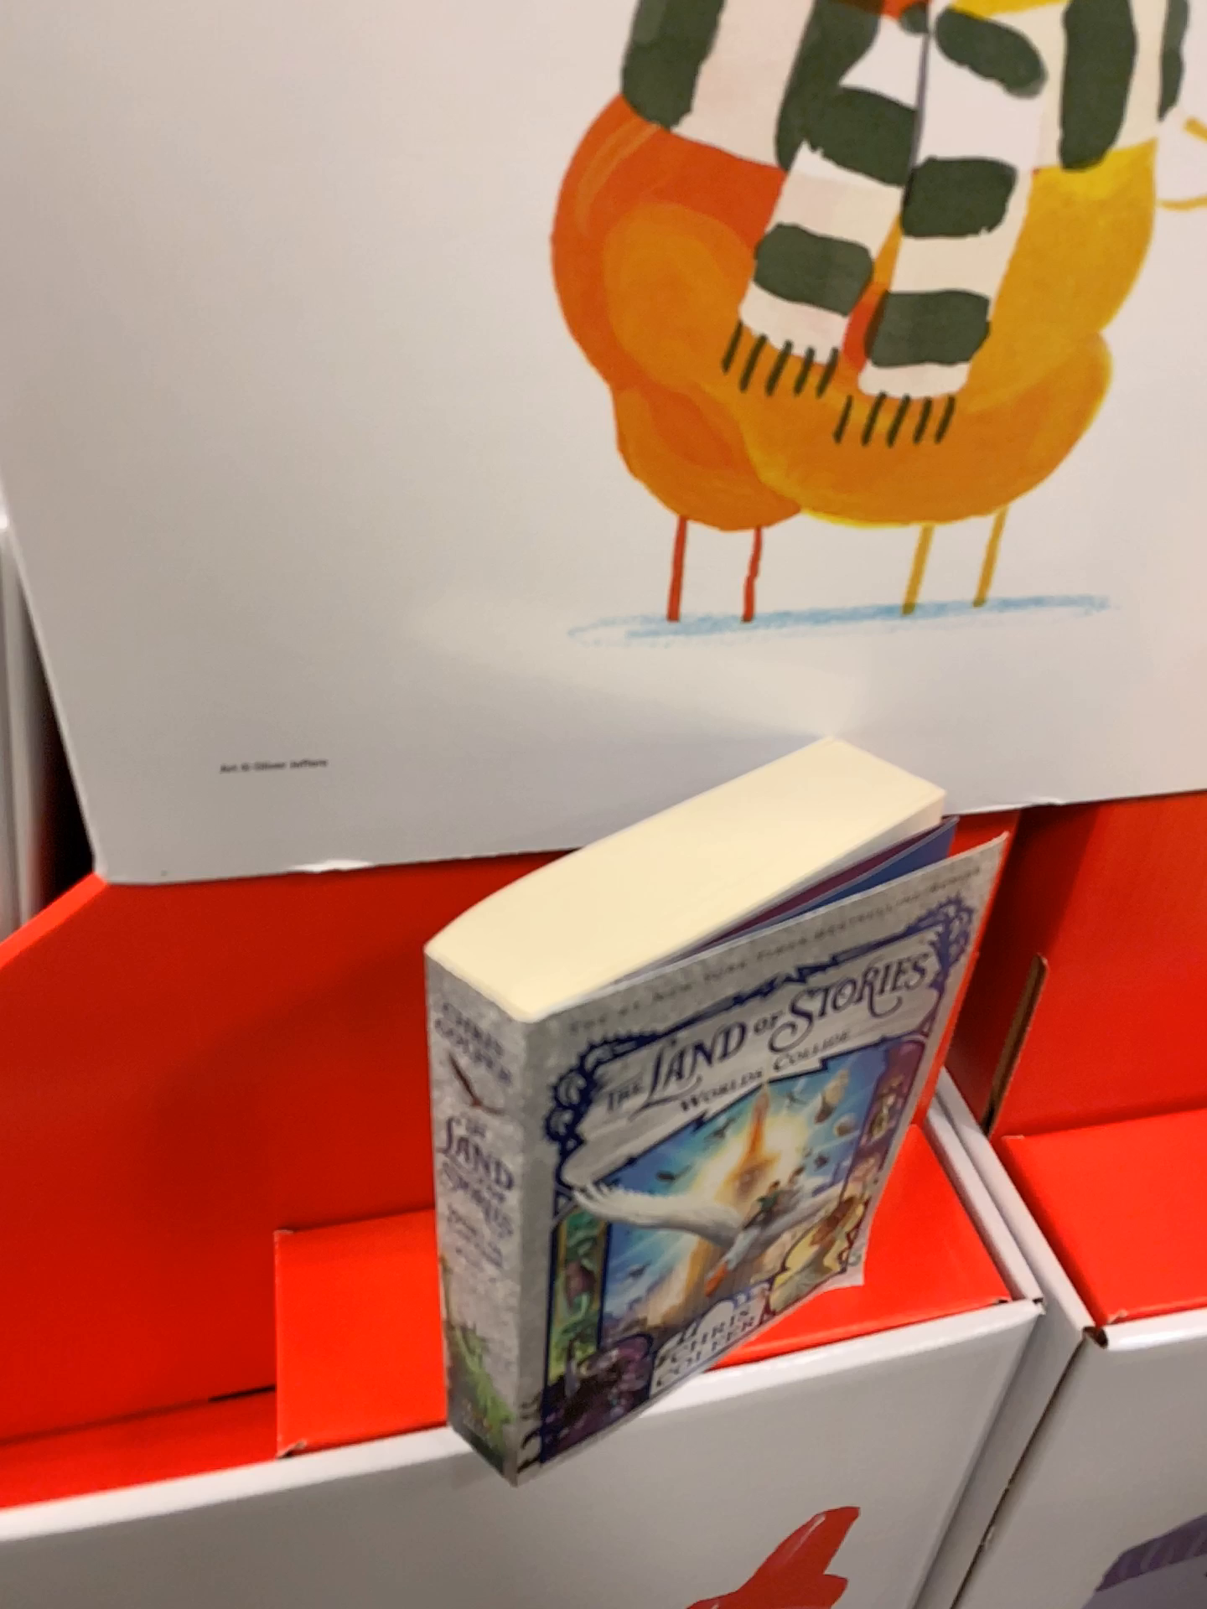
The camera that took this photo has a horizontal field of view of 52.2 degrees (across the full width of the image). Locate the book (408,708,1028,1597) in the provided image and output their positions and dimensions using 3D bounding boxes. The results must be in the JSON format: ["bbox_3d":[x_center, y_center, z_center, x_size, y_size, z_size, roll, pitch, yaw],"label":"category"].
[{"bbox_3d":[0.027,0.093,0.325,0.130,0.193,0.065,-29,46,-35],"label":"book"}]
